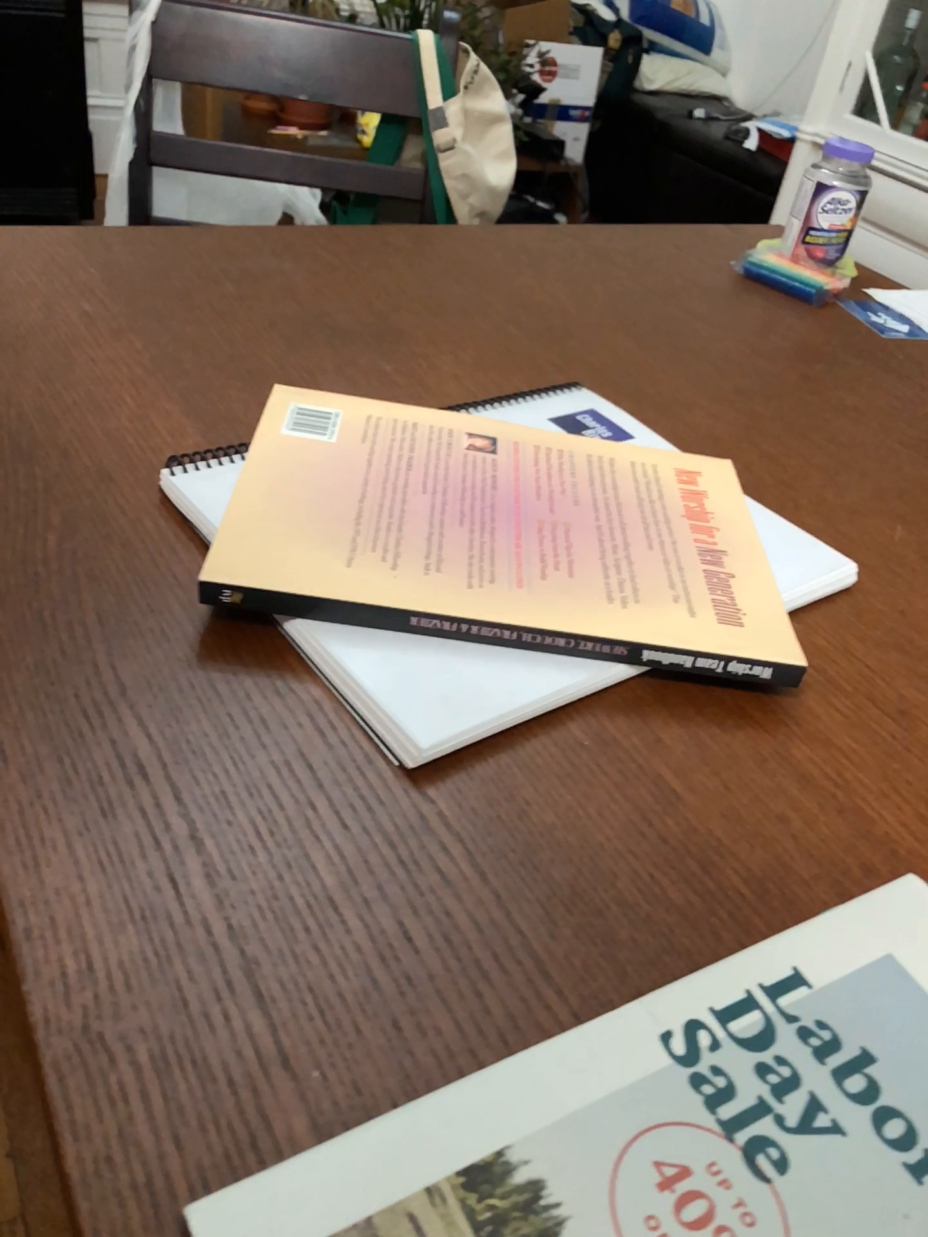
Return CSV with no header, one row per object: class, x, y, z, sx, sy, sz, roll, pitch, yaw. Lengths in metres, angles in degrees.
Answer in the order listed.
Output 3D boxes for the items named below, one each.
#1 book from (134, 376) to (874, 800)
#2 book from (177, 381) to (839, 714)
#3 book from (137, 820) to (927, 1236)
book,0.024,-0.045,0.512,0.291,0.020,0.231,-19,45,-34
book,0.021,-0.043,0.480,0.260,0.020,0.191,8,36,-4
book,0.088,0.160,0.240,0.271,0.010,0.201,-12,42,-28
